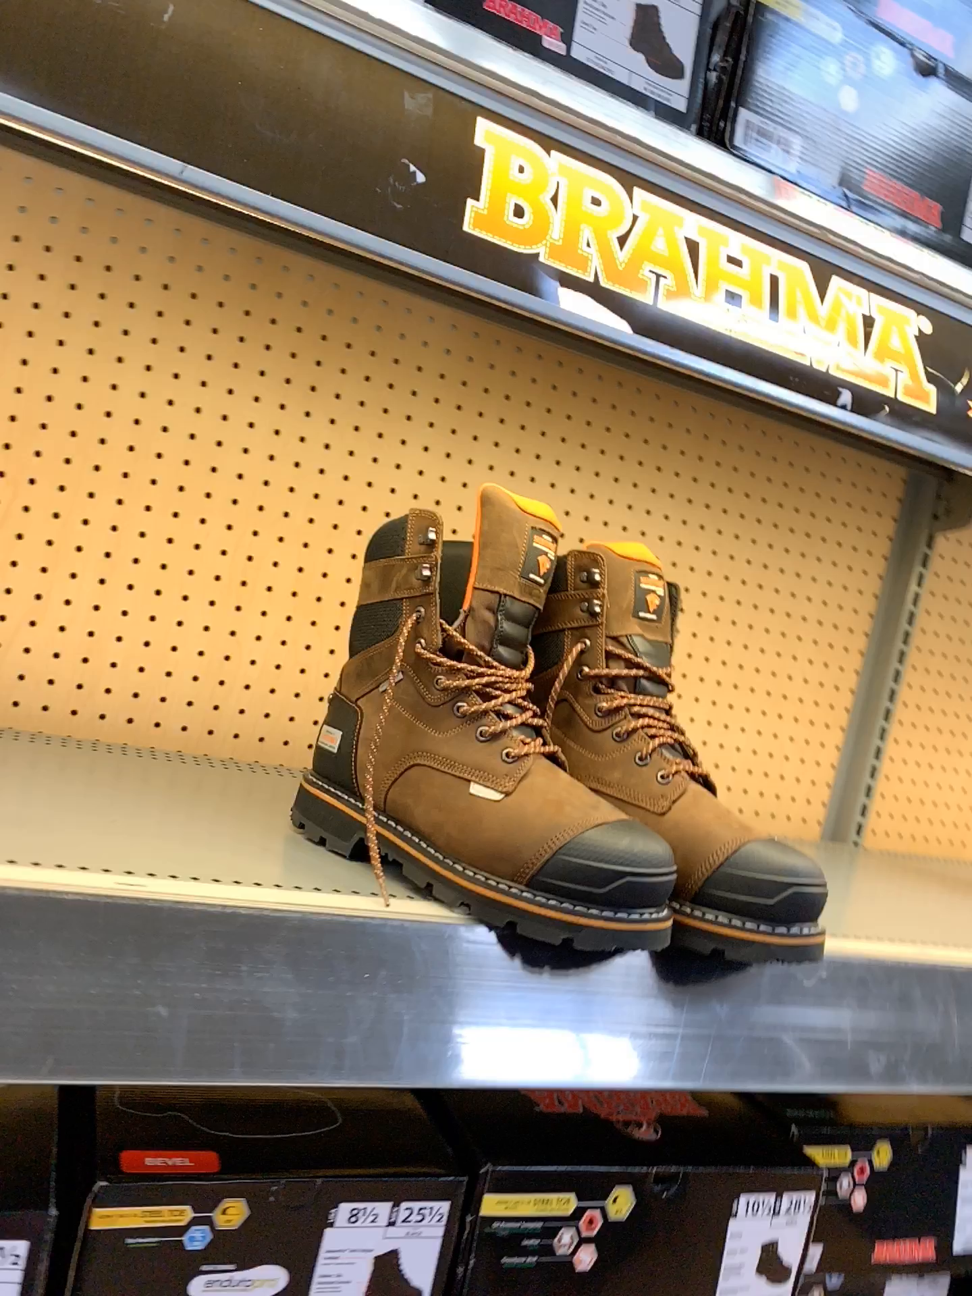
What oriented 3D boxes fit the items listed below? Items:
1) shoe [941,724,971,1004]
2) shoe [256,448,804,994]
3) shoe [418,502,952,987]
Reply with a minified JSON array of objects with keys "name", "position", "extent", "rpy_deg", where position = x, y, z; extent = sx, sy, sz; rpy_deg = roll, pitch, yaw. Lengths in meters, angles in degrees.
[{"name":"shoe","position":[0.640,0.204,1.002],"extent":[0.146,0.180,0.273],"rpy_deg":[12,4,-23]},{"name":"shoe","position":[0.014,0.028,0.695],"extent":[0.313,0.280,0.136],"rpy_deg":[16,4,42]},{"name":"shoe","position":[0.134,0.051,0.750],"extent":[0.318,0.260,0.134],"rpy_deg":[16,4,40]}]
